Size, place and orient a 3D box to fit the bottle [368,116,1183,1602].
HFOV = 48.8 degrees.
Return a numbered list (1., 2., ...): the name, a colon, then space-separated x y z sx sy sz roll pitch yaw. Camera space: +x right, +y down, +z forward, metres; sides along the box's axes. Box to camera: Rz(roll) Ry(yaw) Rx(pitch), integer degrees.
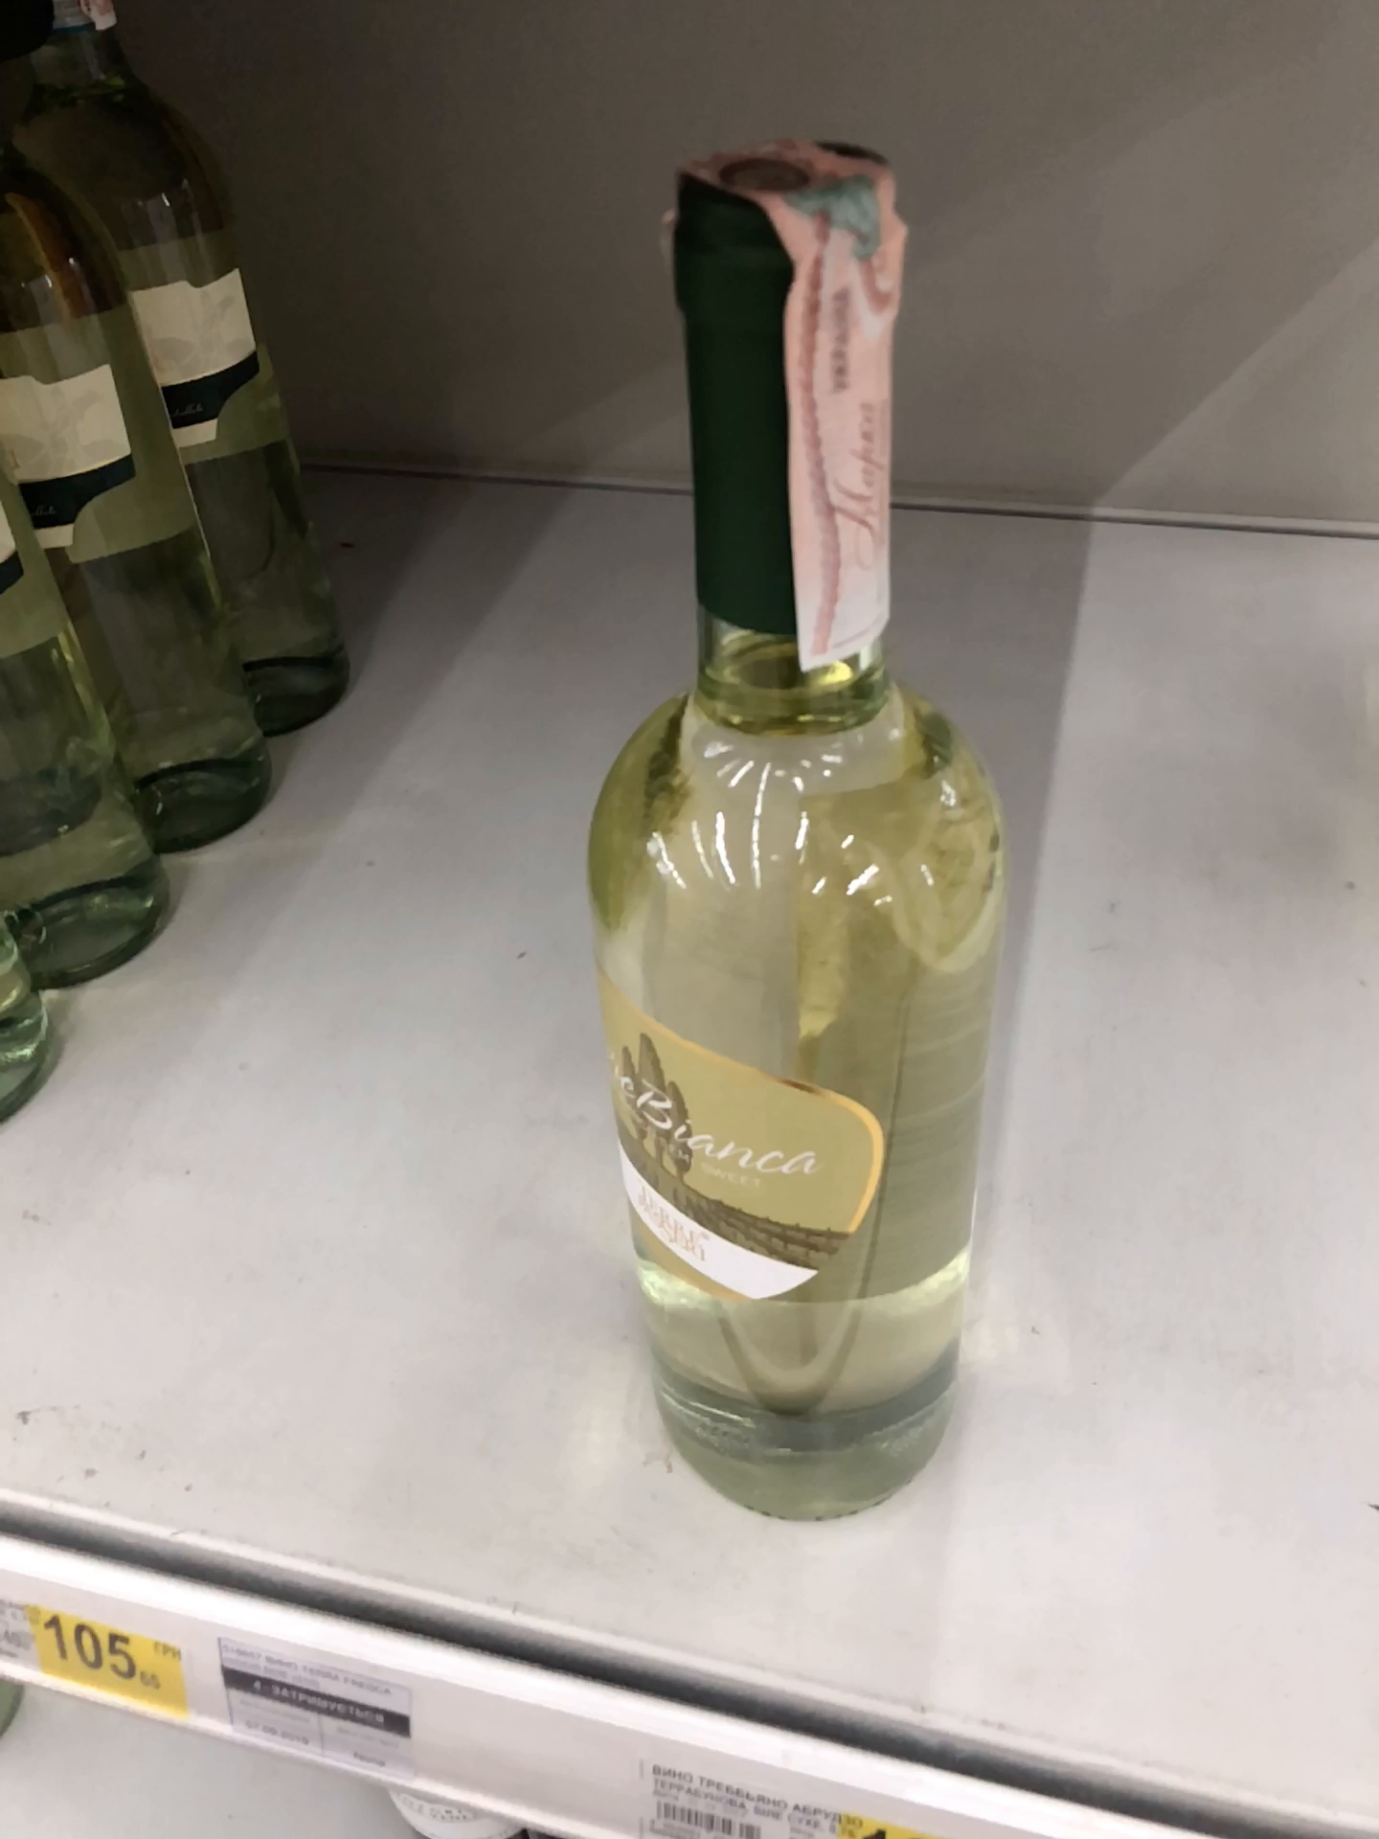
1. bottle: 0.018 0.016 0.275 0.070 0.269 0.070 -2 43 2
